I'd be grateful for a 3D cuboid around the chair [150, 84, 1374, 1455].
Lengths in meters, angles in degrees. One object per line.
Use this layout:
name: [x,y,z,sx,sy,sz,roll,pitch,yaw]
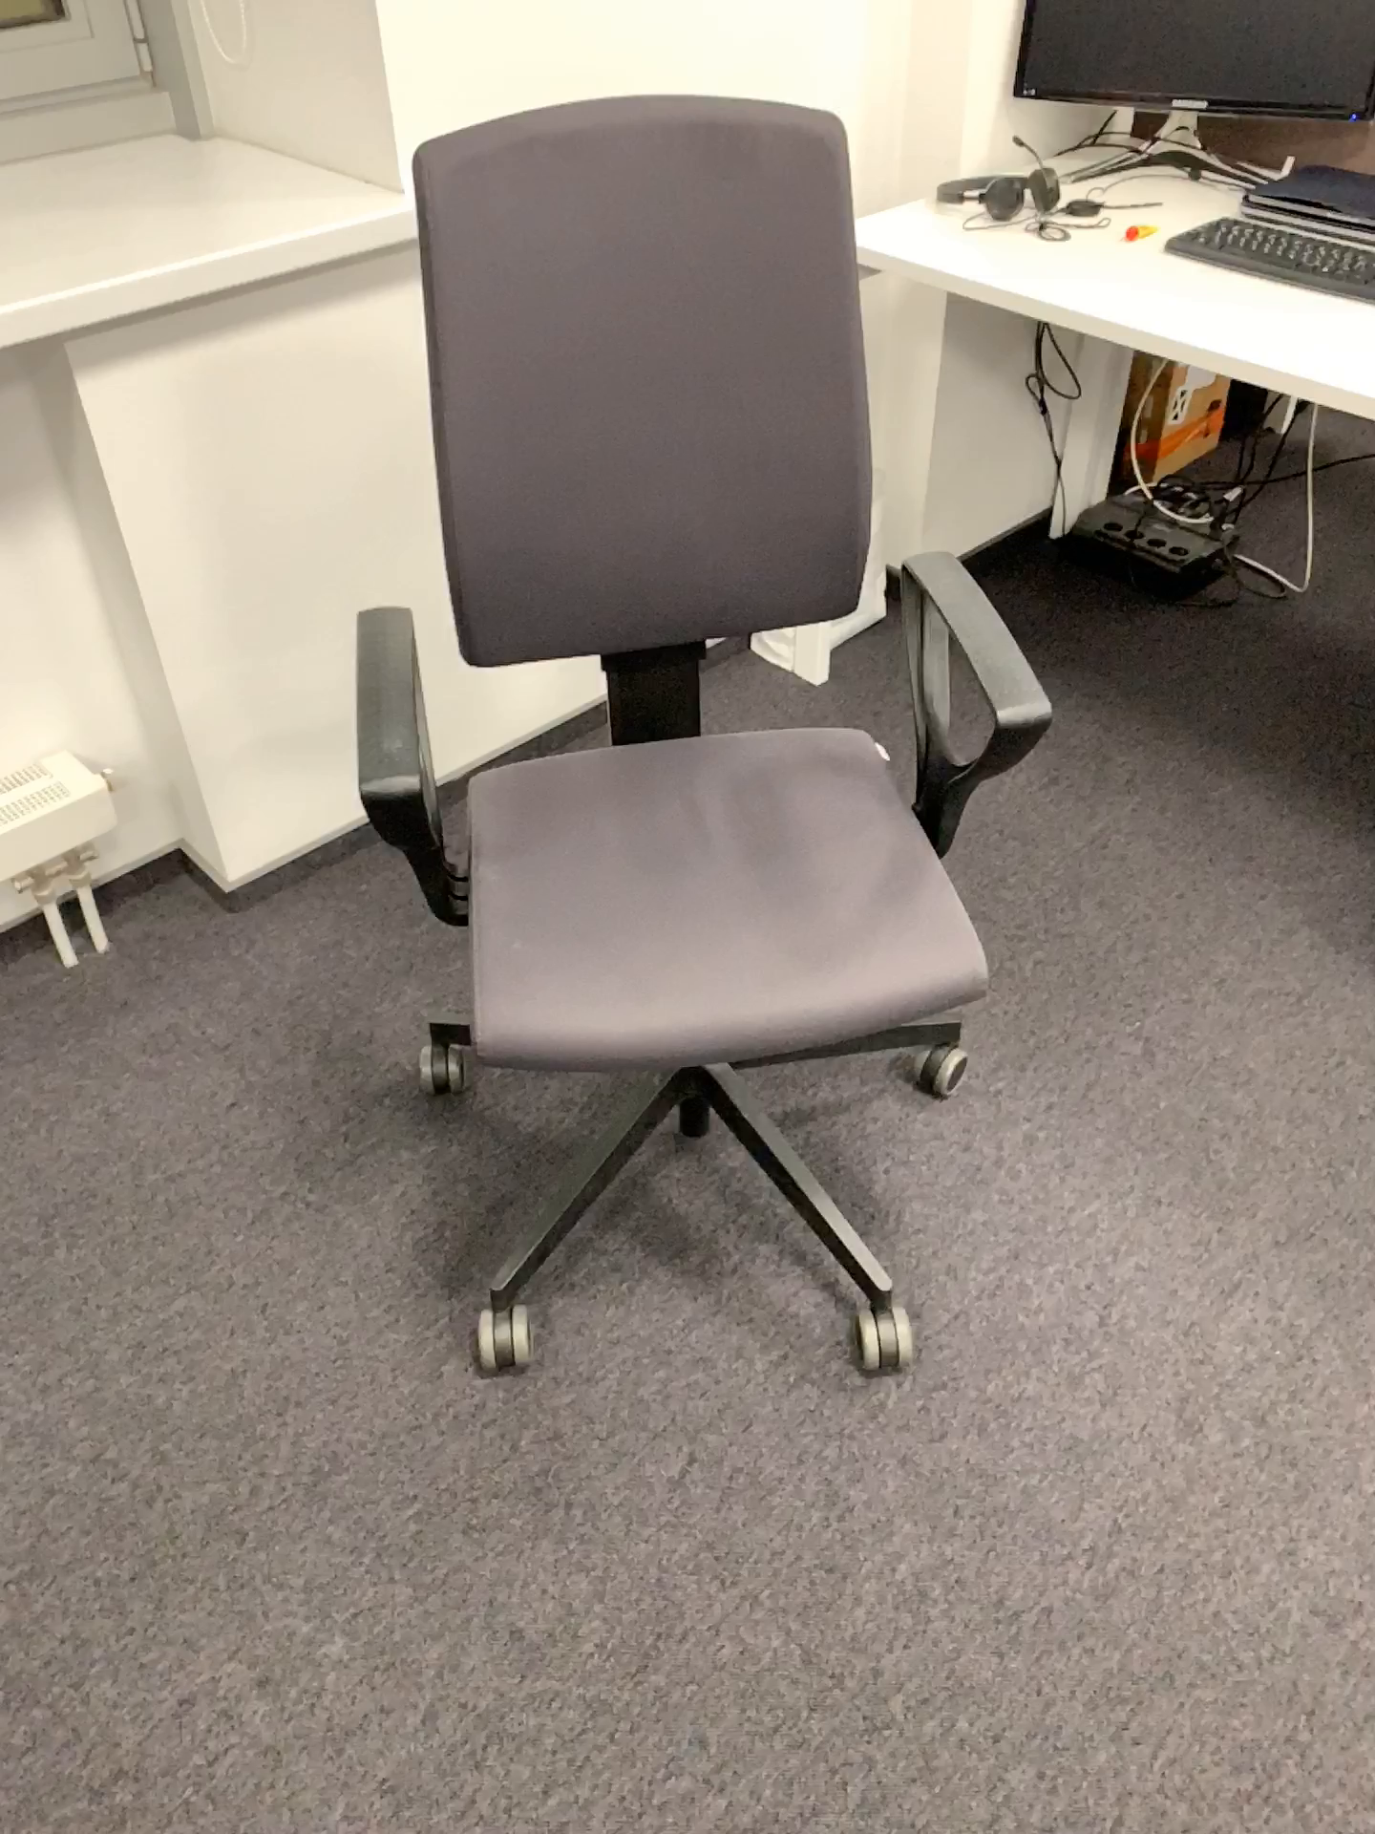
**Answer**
chair: [0.006,-0.138,1.401,0.700,1.044,0.754,-7,41,-7]
